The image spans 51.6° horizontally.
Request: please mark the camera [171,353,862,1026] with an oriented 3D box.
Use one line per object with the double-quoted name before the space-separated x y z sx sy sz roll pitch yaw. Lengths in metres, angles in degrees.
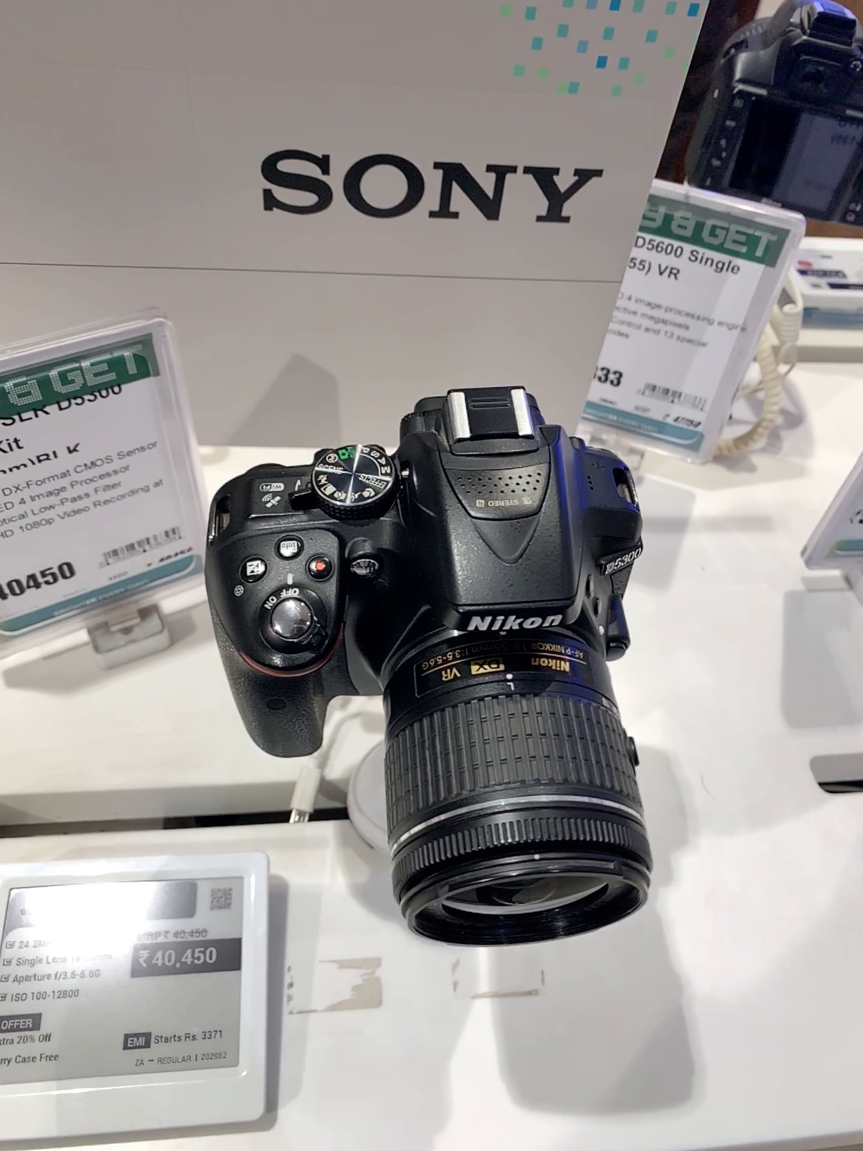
"camera" 0.012 0.018 0.211 0.130 0.070 0.130 -4 51 -9
